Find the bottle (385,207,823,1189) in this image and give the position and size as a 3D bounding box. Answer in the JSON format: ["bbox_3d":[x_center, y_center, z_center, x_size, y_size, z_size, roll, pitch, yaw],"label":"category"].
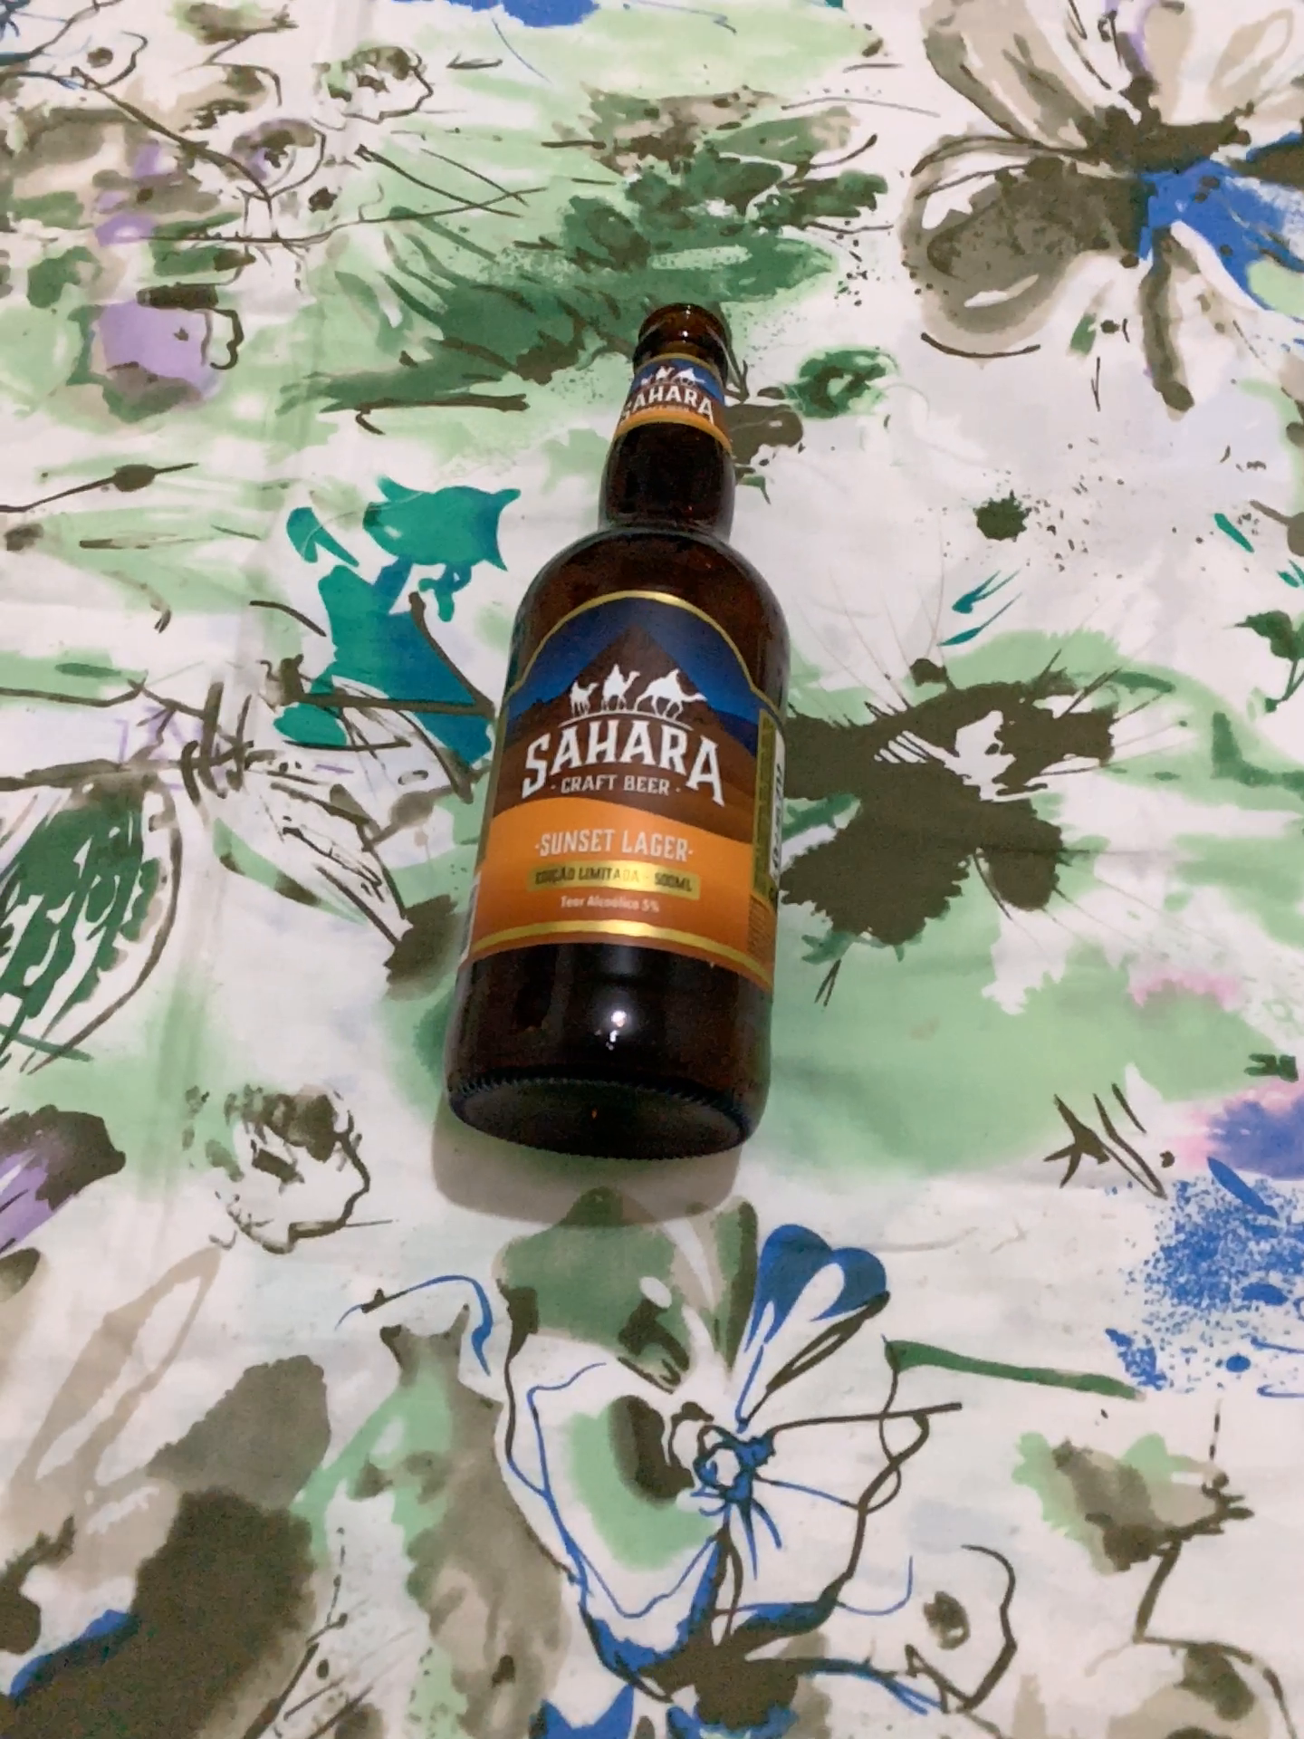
[{"bbox_3d":[-0.003,-0.053,0.348,0.080,0.070,0.250,4,65,2],"label":"bottle"}]
